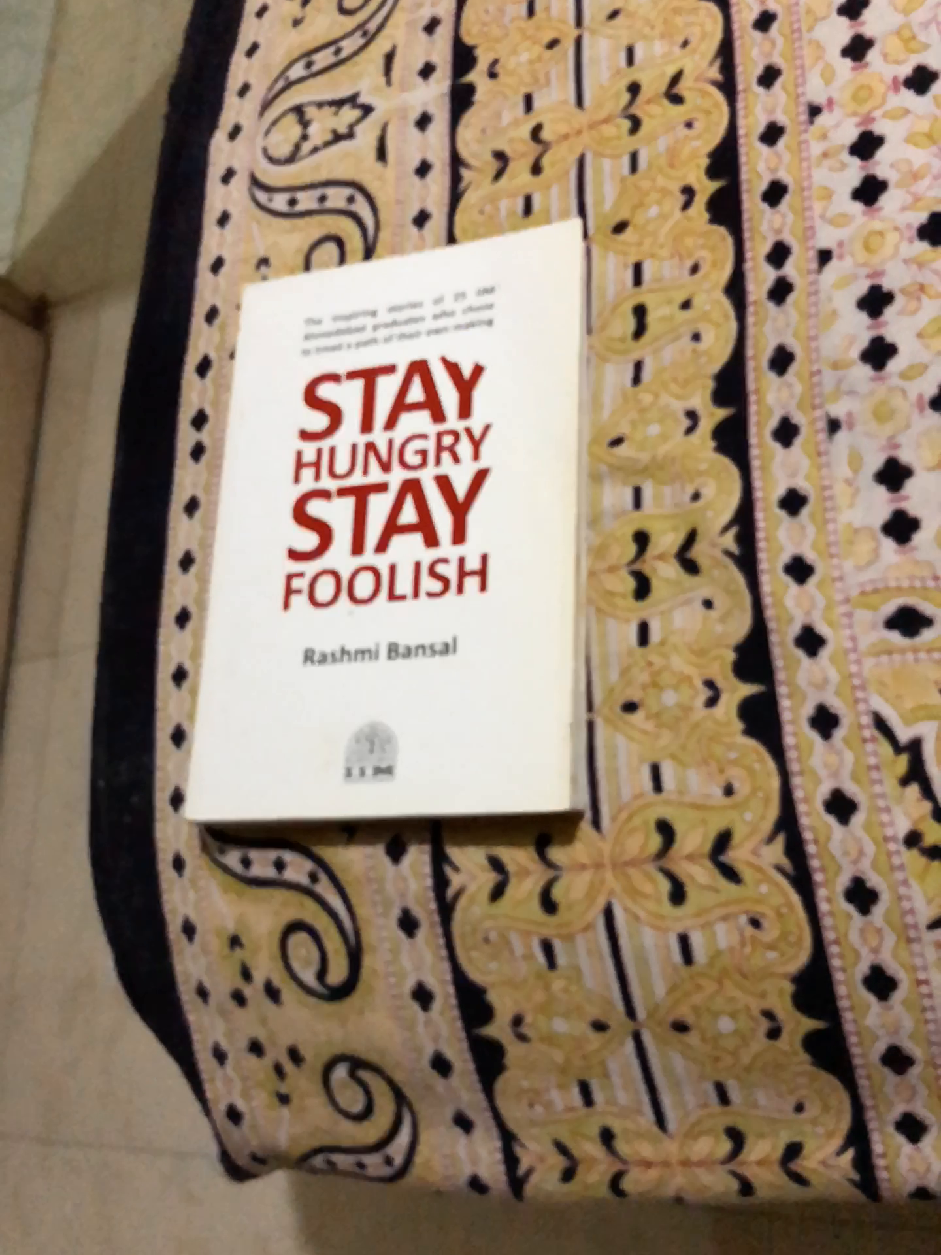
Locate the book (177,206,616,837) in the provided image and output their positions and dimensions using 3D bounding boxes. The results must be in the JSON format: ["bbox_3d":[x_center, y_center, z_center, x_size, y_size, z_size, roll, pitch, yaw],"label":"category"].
[{"bbox_3d":[-0.022,-0.034,0.378,0.140,0.040,0.210,-4,72,21],"label":"book"}]
